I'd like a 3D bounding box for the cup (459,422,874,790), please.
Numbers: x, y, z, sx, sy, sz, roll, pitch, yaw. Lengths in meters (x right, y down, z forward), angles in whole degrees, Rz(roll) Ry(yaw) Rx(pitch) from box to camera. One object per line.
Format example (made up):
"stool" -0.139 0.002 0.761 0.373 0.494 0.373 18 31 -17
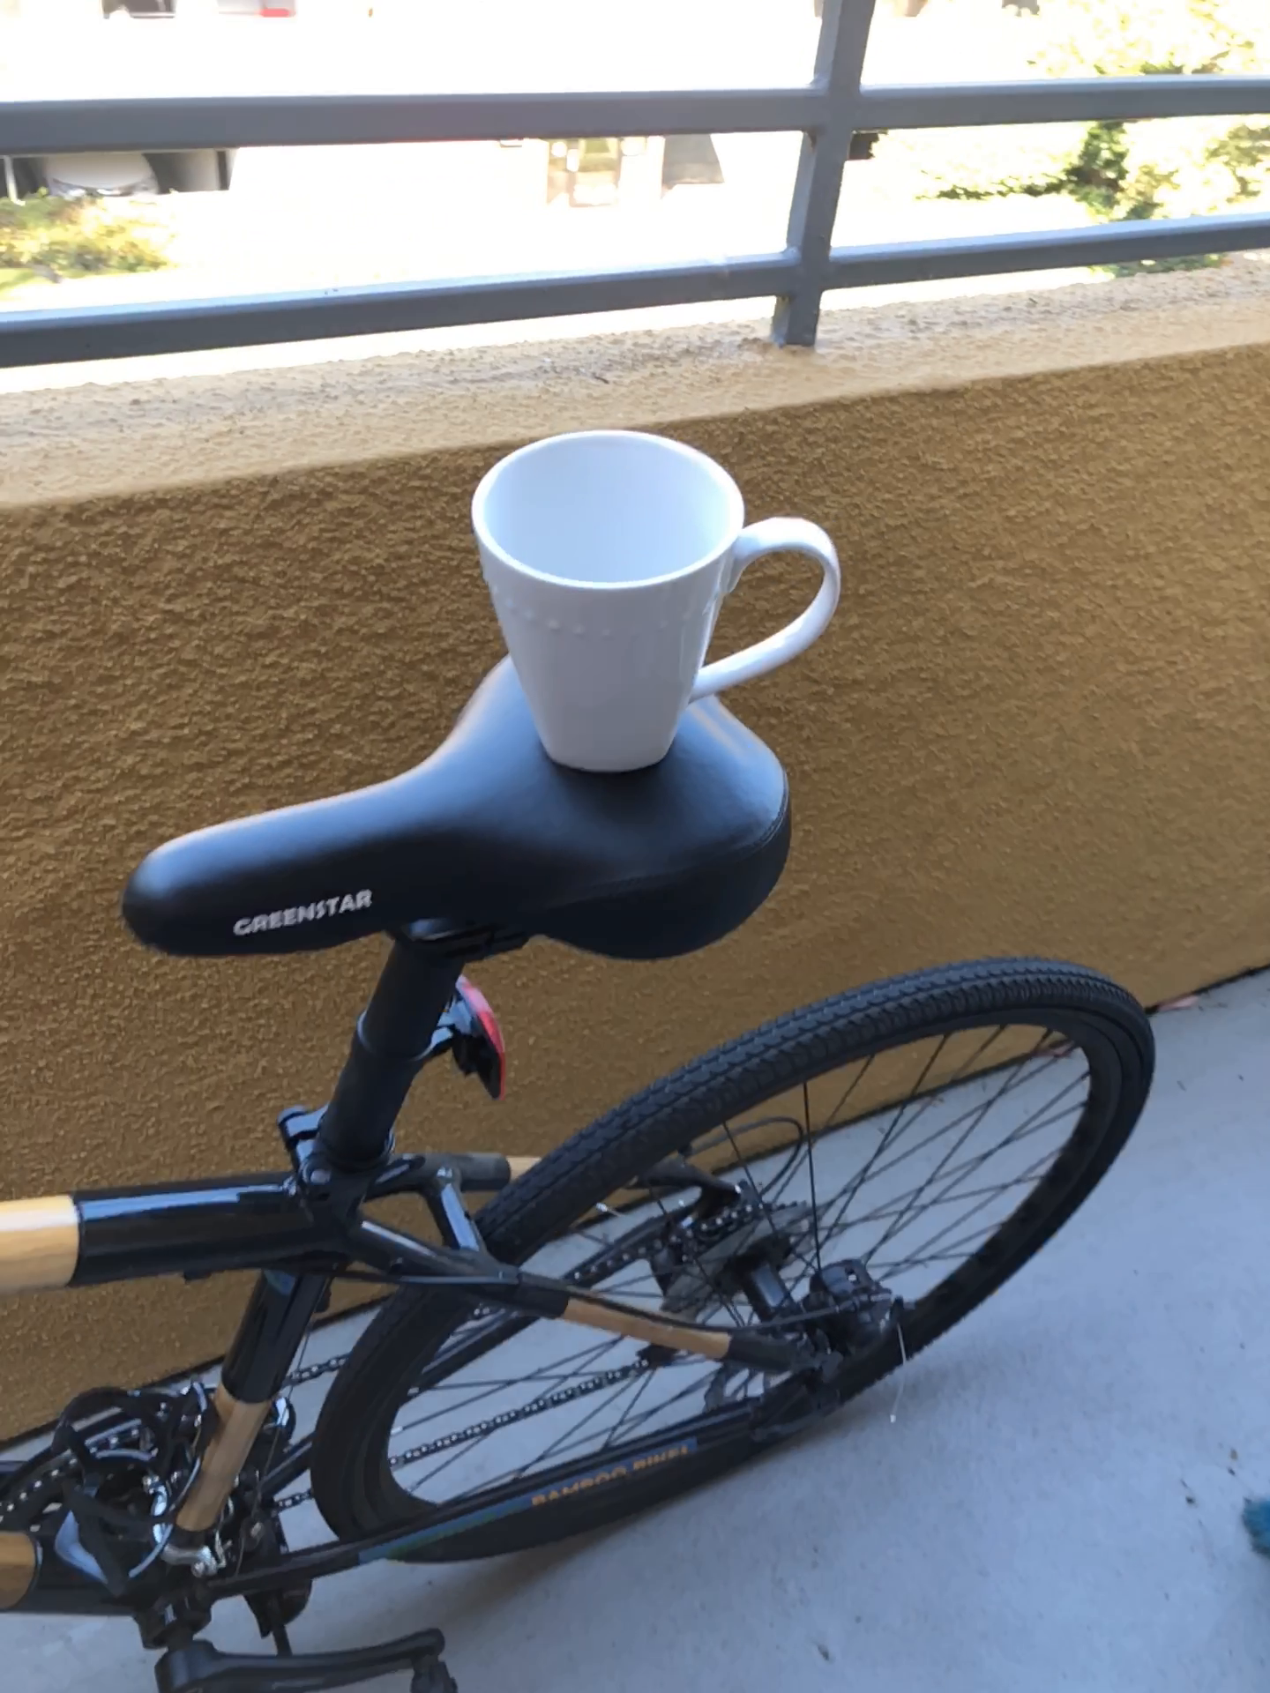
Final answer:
"cup" 0.004 -0.090 0.528 0.130 0.100 0.090 -2 43 -11
